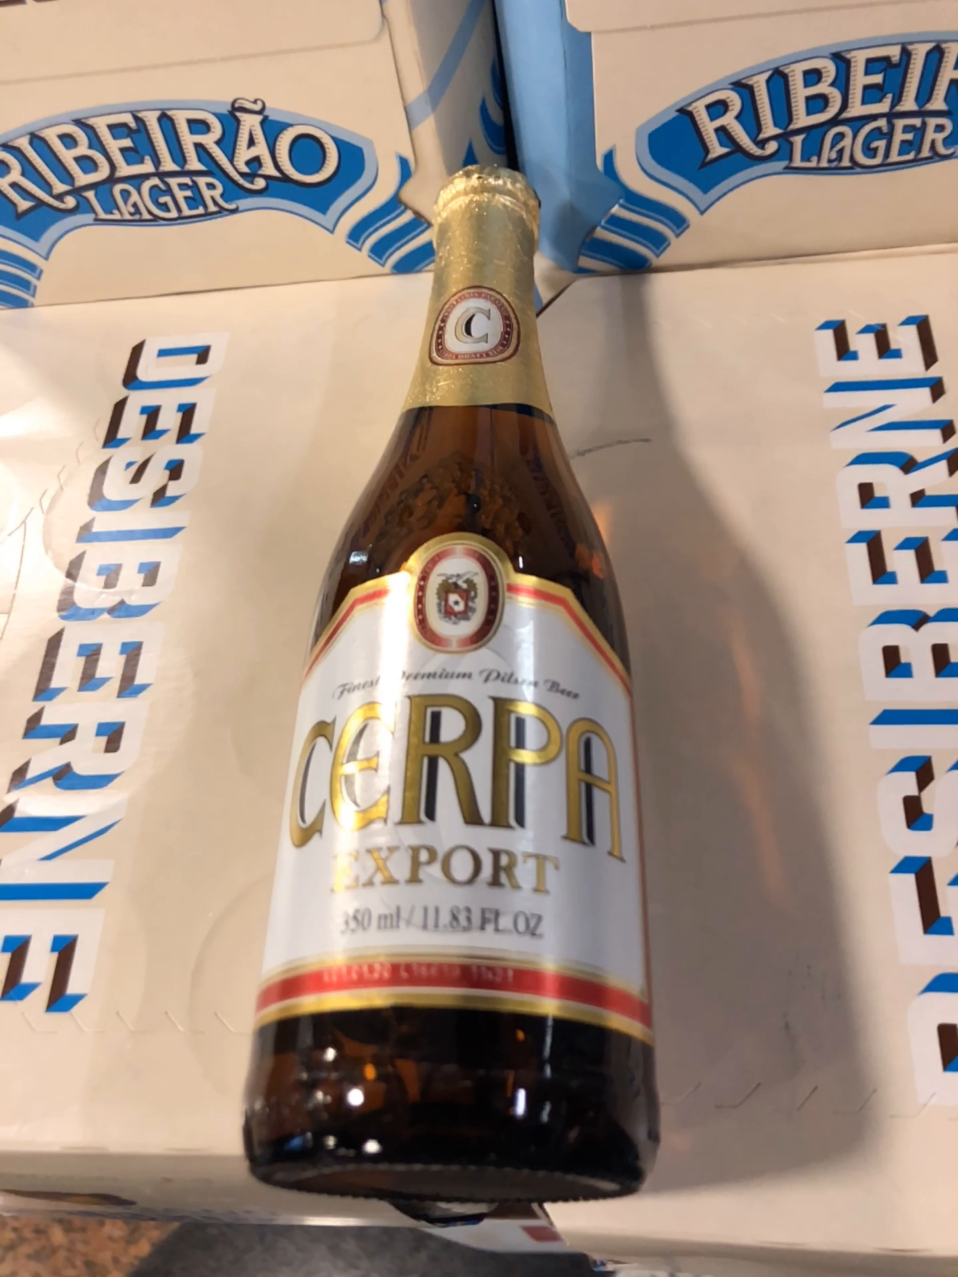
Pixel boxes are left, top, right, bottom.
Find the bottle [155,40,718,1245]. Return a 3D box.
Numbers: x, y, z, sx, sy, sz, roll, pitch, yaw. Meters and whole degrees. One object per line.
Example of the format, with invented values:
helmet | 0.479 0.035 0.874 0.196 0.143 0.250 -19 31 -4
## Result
bottle | 0.004 -0.018 0.216 0.070 0.060 0.241 -1 60 8
